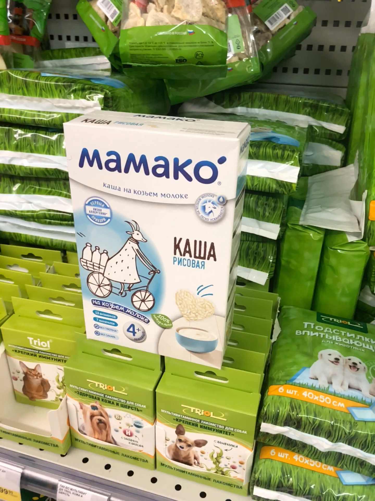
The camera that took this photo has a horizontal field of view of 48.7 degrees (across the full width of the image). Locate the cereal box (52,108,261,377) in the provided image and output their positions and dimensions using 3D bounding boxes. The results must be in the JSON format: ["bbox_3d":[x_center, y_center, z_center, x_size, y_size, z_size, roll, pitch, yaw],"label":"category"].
[{"bbox_3d":[-0.023,-0.006,0.348,0.140,0.199,0.060,9,28,14],"label":"cereal box"}]
